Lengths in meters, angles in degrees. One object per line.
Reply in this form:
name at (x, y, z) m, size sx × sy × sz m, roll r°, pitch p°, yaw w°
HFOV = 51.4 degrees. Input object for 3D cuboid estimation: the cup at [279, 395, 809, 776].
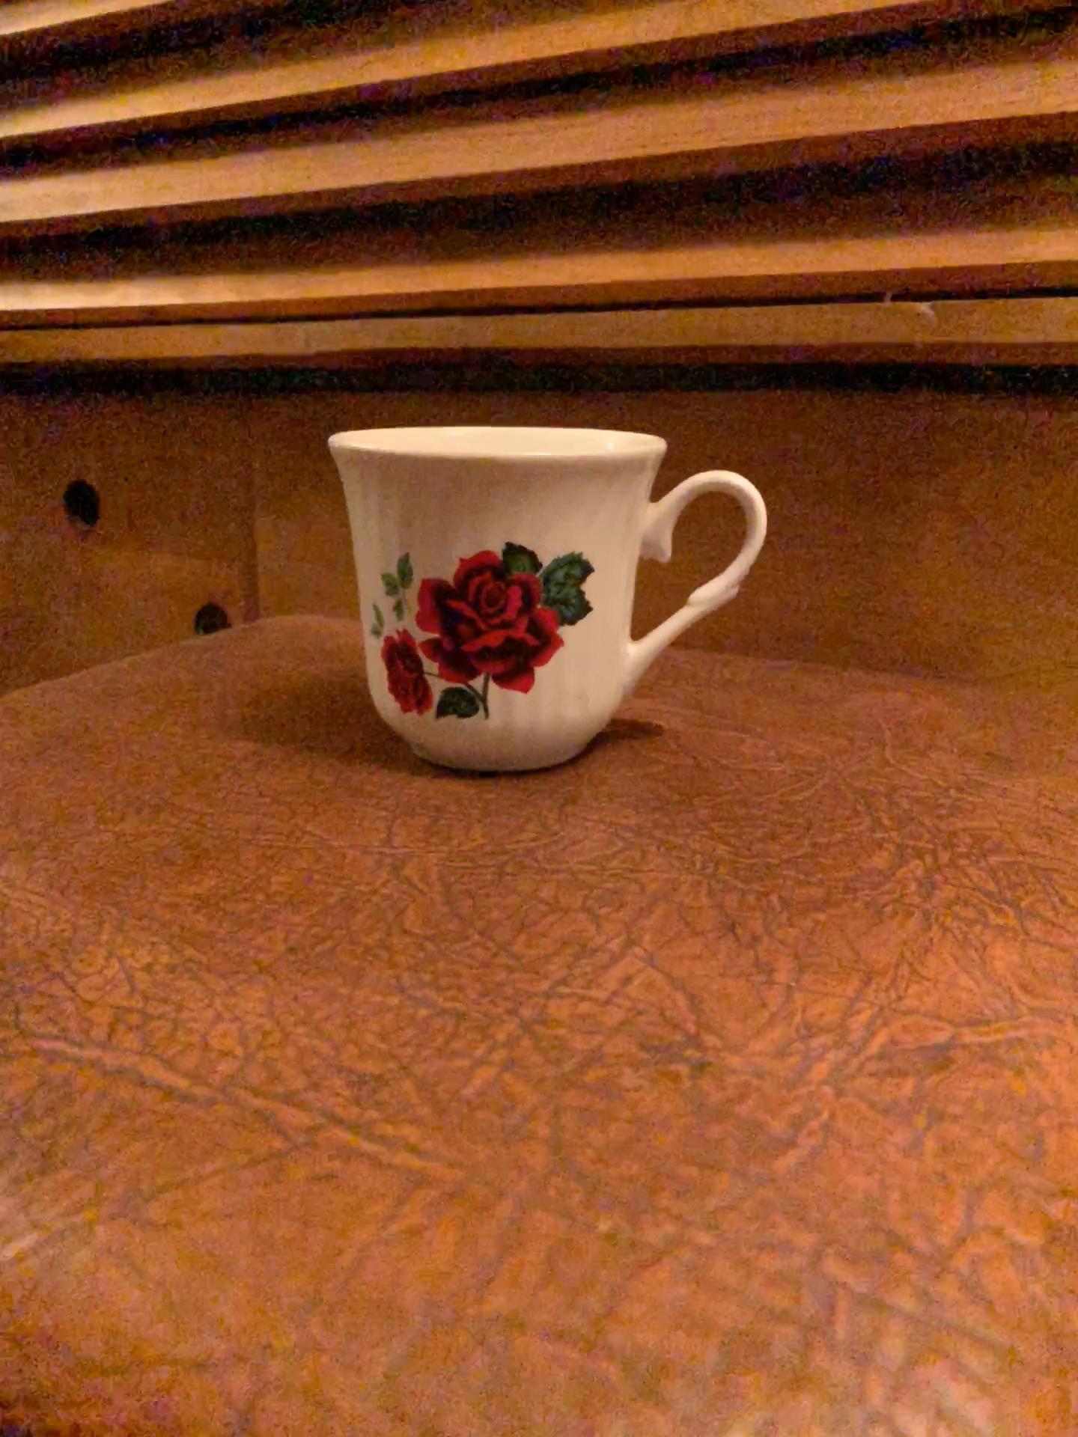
cup at (0.001, -0.038, 0.286) m, size 0.111 × 0.082 × 0.085 m, roll 1°, pitch 14°, yaw 0°
